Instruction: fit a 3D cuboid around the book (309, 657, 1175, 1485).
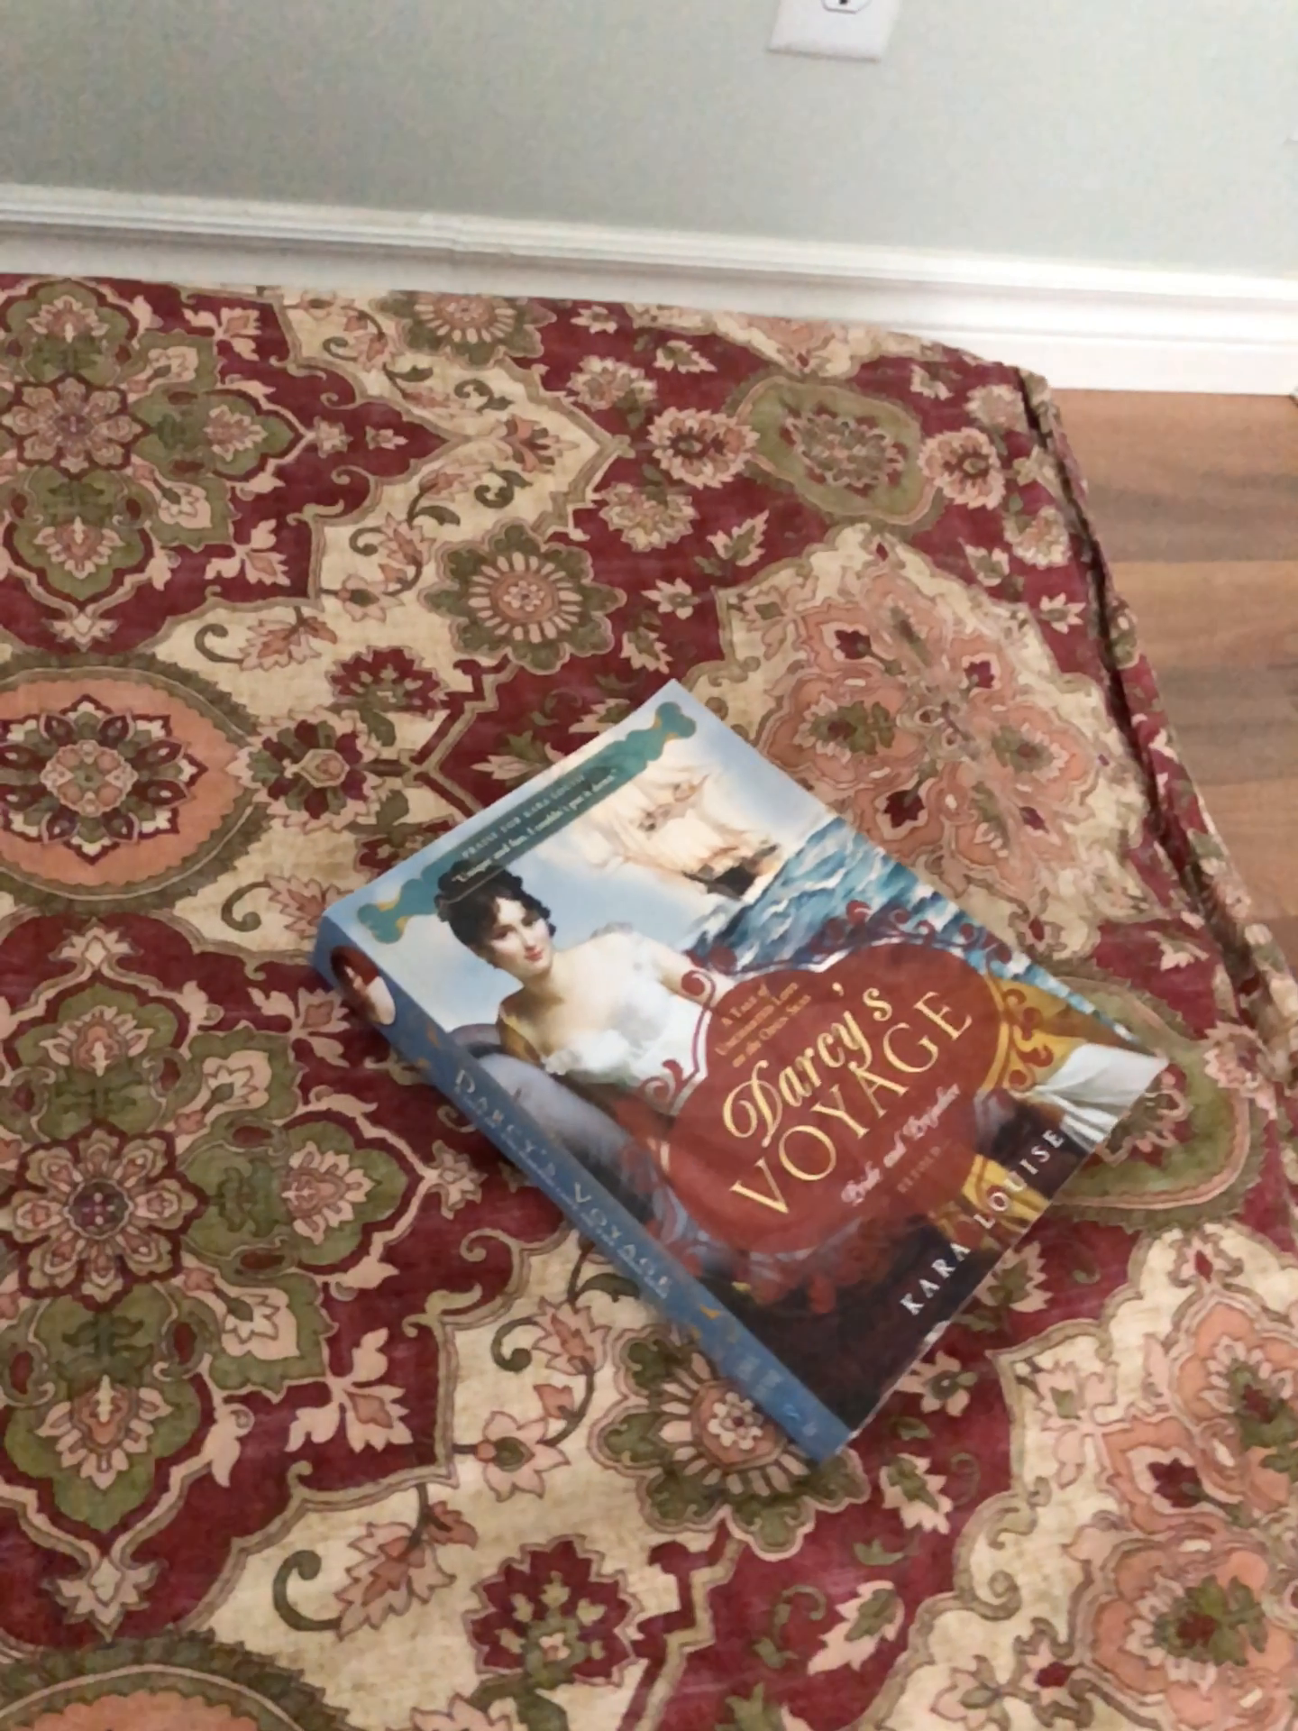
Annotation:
[{"bbox_3d":[0.028,0.043,0.417,0.200,0.034,0.155,42,54,16],"label":"book"}]
